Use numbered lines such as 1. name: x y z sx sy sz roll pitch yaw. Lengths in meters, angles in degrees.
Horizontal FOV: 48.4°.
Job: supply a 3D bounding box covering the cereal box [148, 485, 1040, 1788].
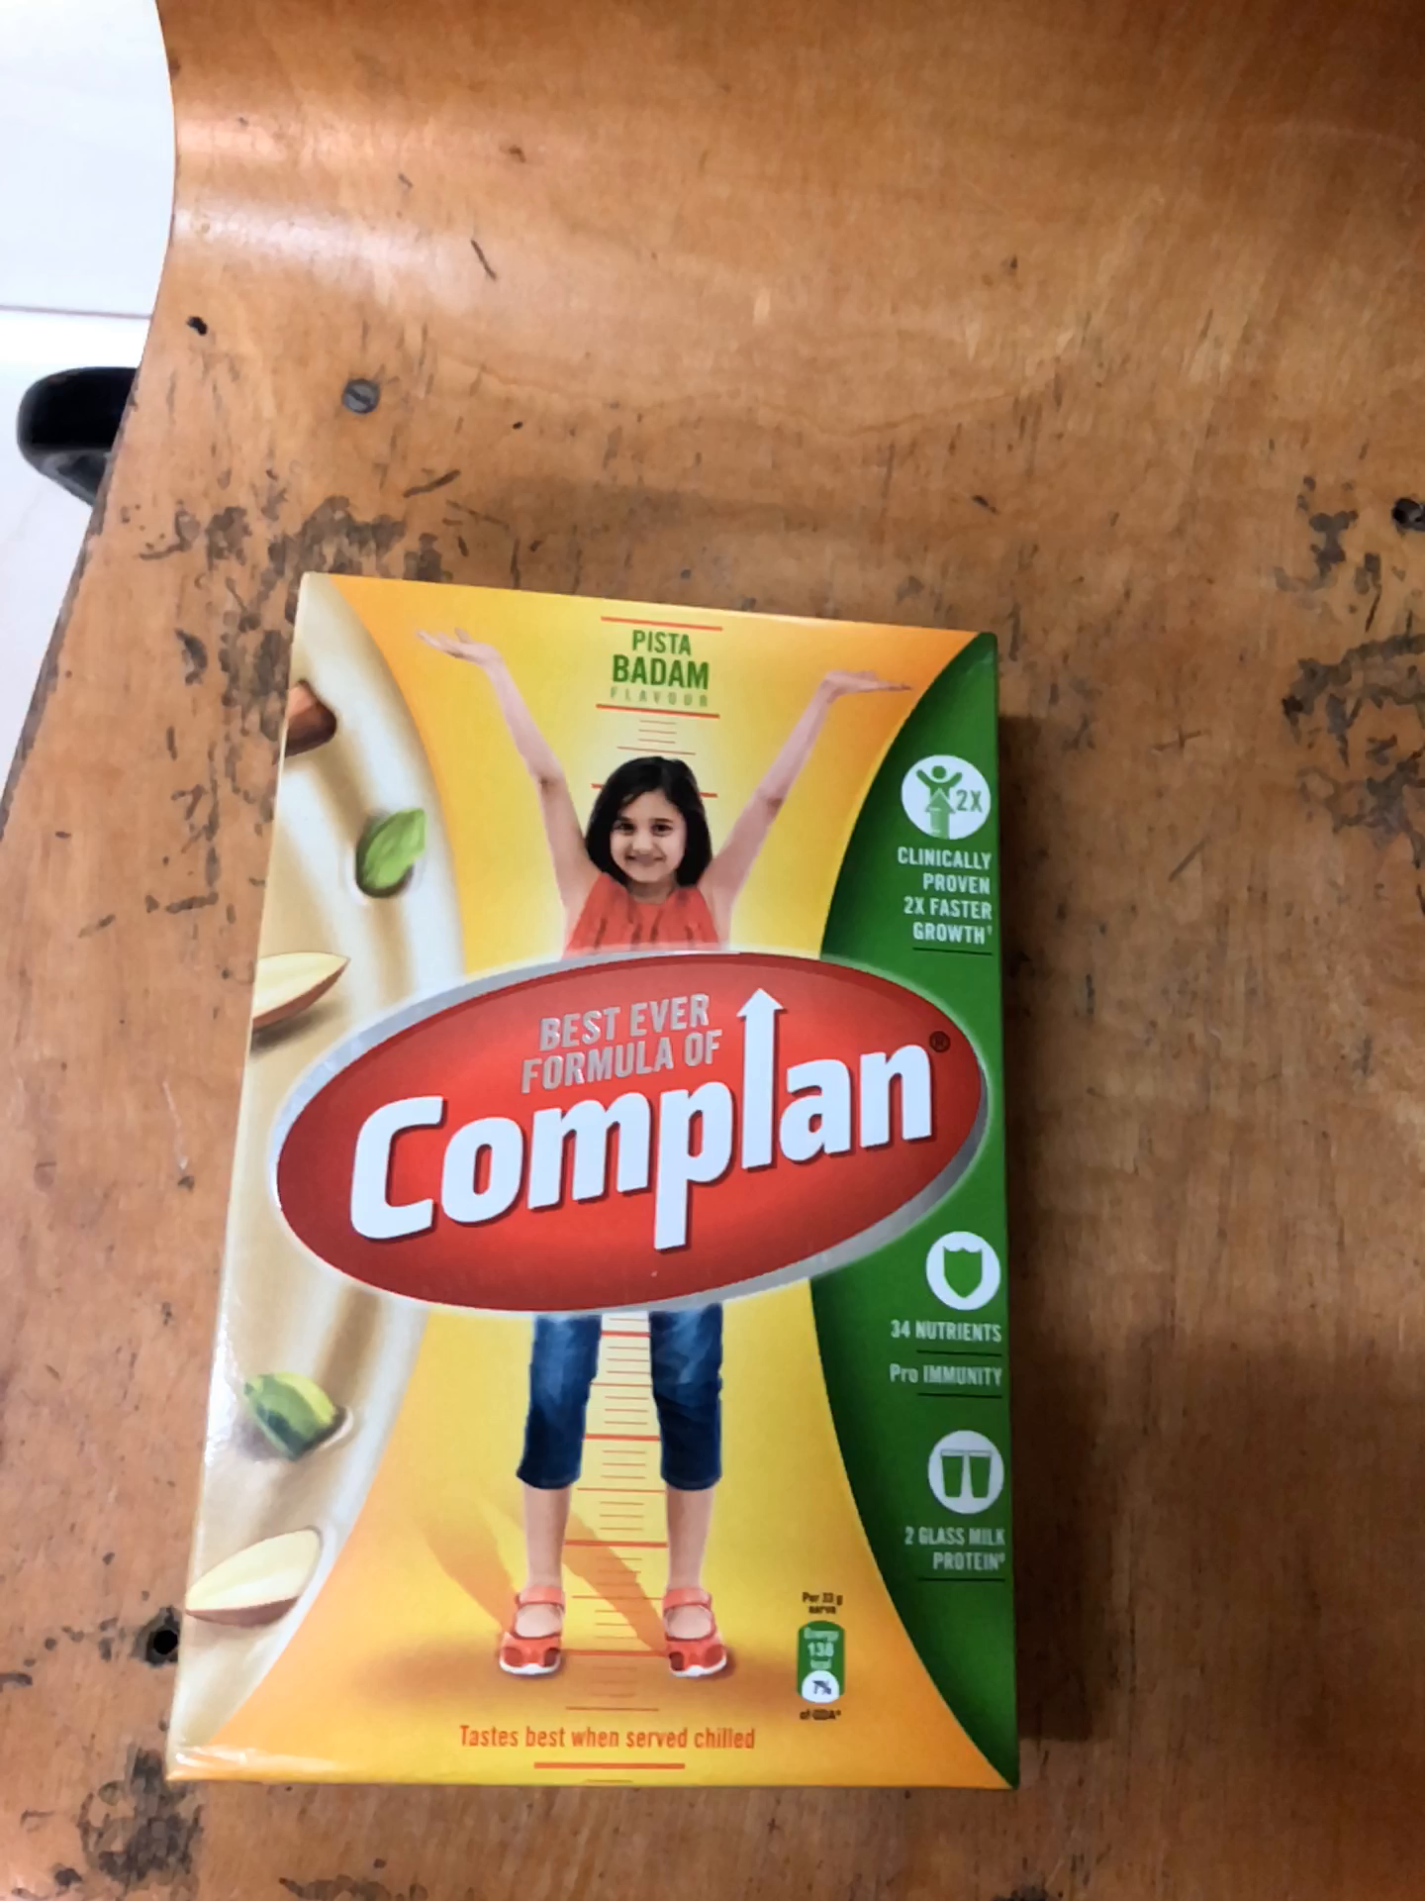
1. cereal box: -0.017 0.030 0.301 0.140 0.050 0.220 4 75 -9
